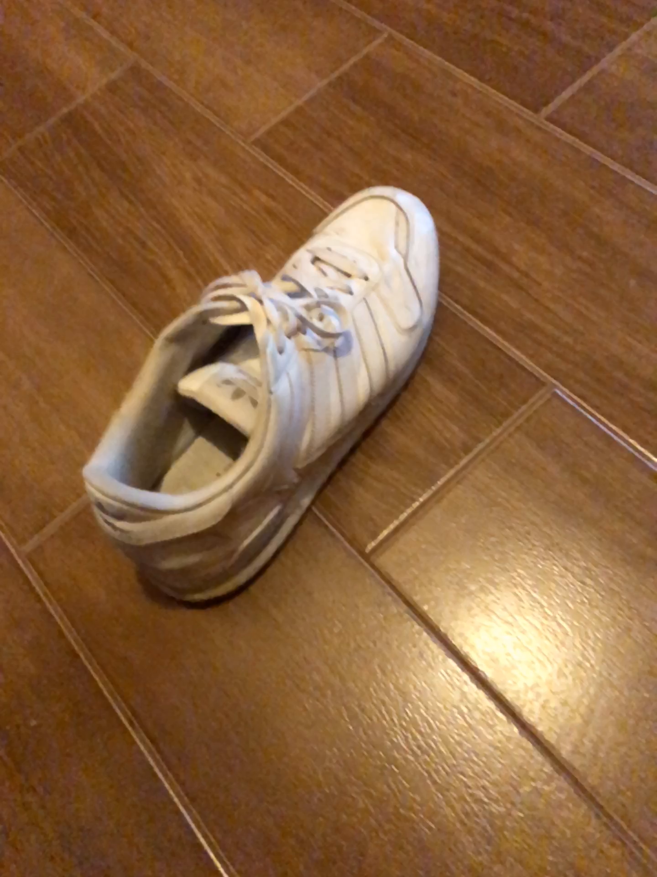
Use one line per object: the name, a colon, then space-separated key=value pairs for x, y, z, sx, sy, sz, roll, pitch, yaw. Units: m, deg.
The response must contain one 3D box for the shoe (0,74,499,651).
shoe: x=-0.030 y=-0.050 z=0.434 sx=0.120 sy=0.120 sz=0.311 roll=28 pitch=73 yaw=21
